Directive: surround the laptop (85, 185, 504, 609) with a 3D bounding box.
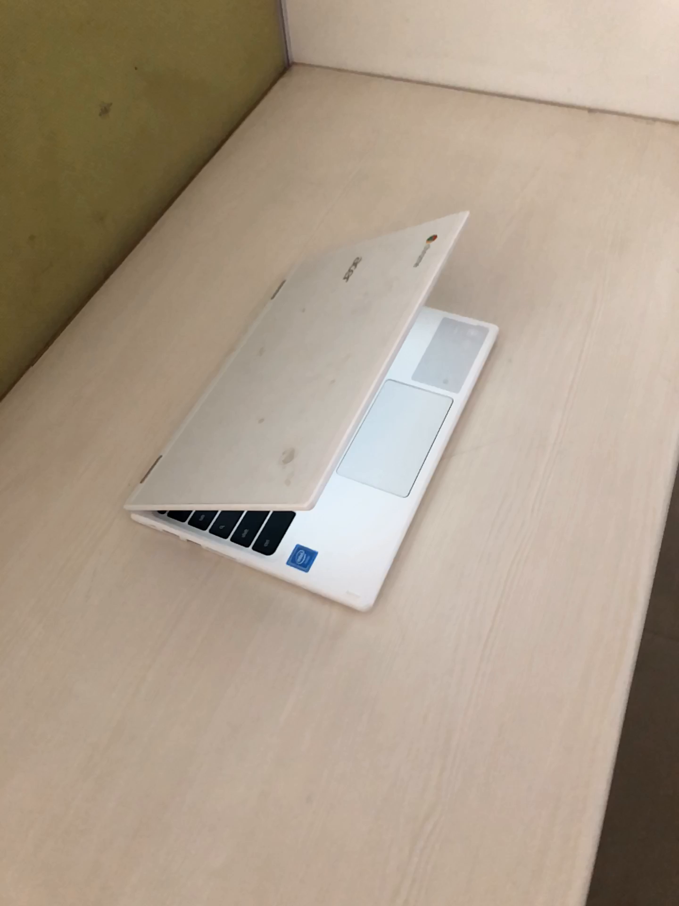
[{"bbox_3d":[-0.014,-0.061,0.583,0.196,0.105,0.291,18,57,16],"label":"laptop"}]
